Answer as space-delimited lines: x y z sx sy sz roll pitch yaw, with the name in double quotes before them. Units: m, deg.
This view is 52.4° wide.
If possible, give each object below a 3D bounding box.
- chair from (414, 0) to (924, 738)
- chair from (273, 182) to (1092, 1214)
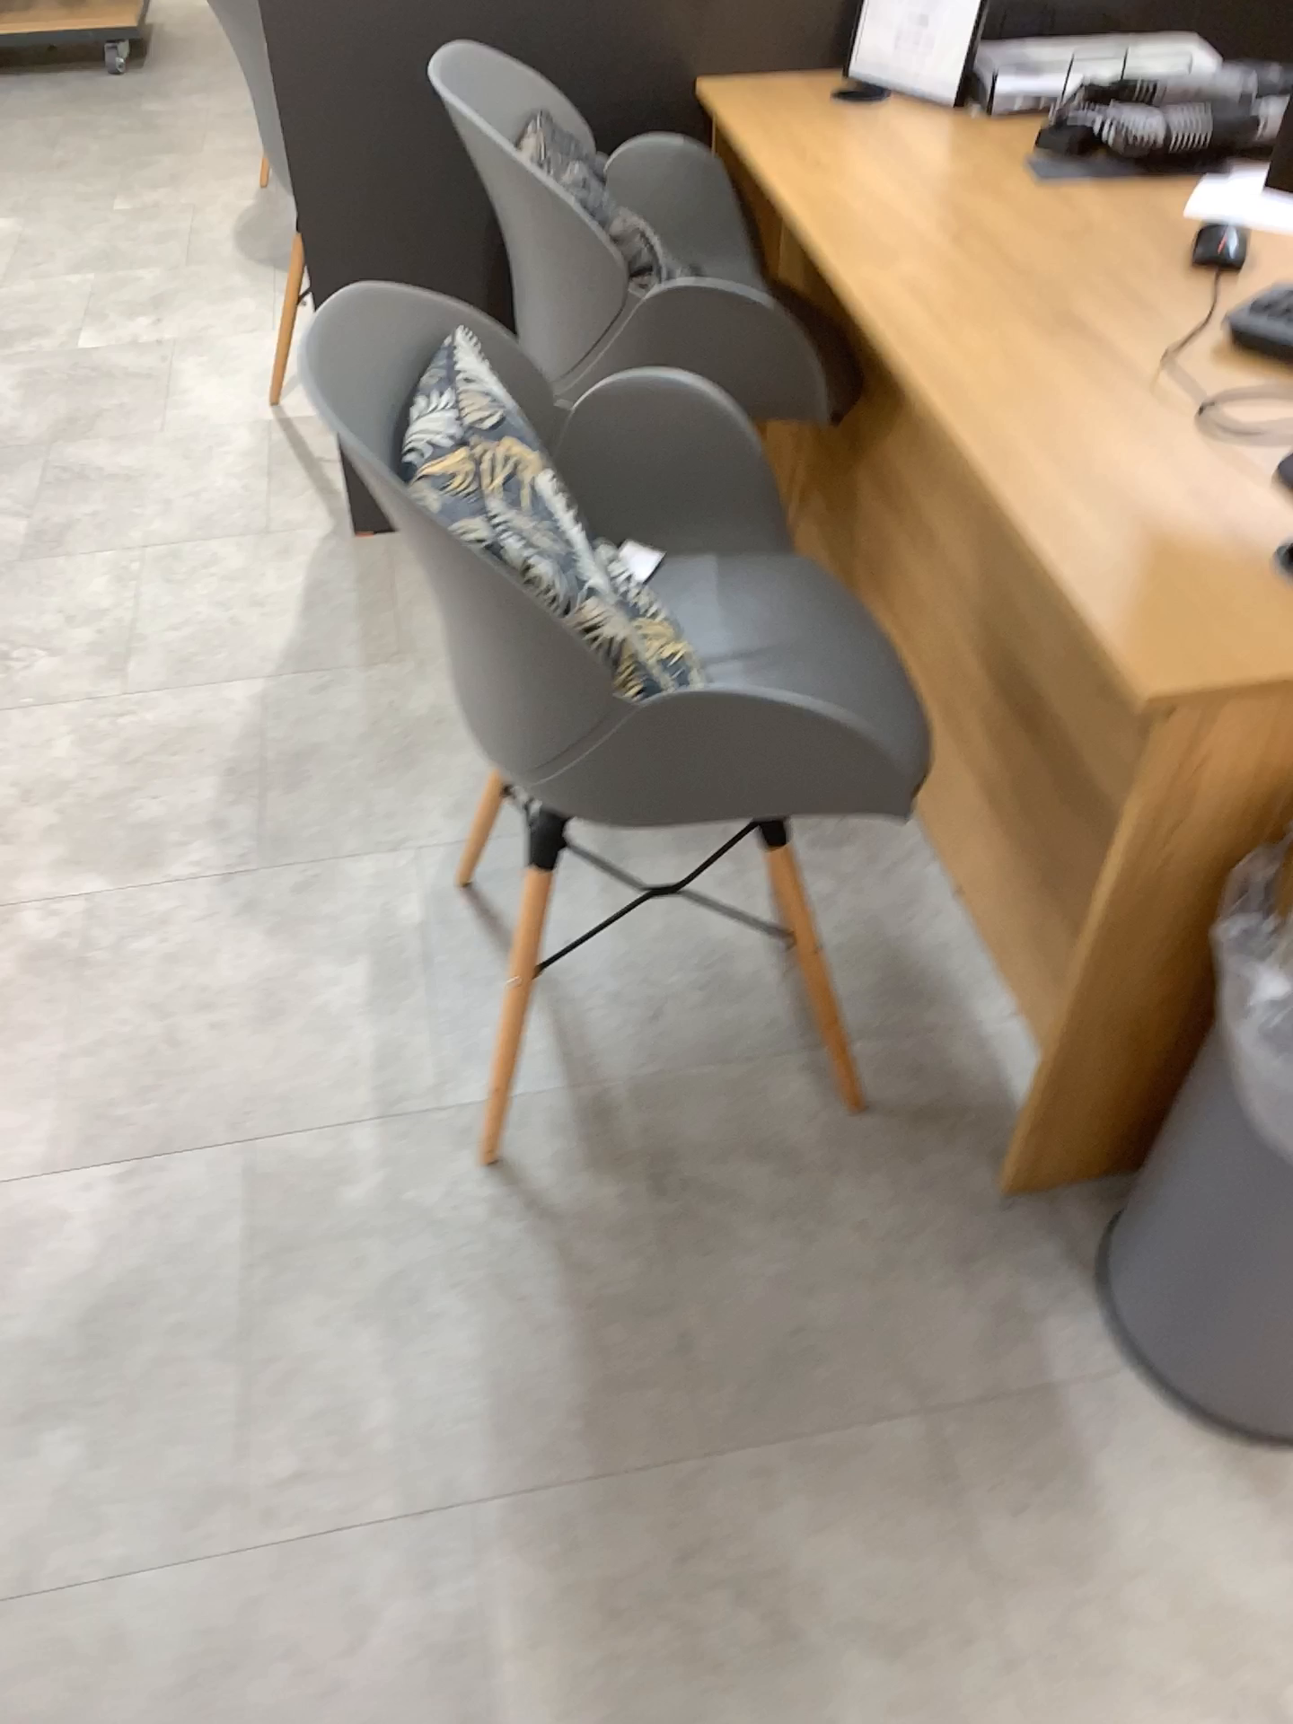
"chair" -0.004 -0.710 1.926 0.546 0.808 0.593 -7 45 -6
"chair" -0.012 -0.152 1.357 0.546 0.808 0.603 -7 45 -6
